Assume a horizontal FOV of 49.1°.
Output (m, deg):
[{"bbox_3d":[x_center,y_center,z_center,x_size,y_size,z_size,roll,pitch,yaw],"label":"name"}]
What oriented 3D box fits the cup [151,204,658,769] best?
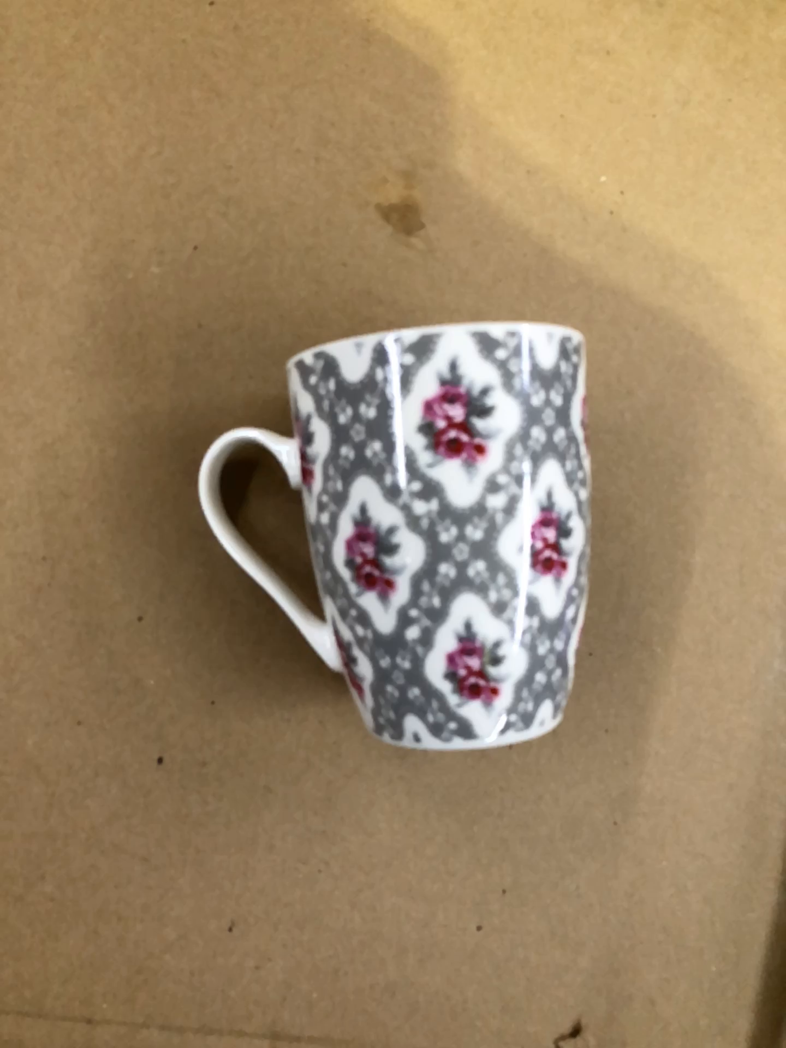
[{"bbox_3d":[0.008,-0.005,0.220,0.100,0.080,0.110,-5,90,13],"label":"cup"}]
